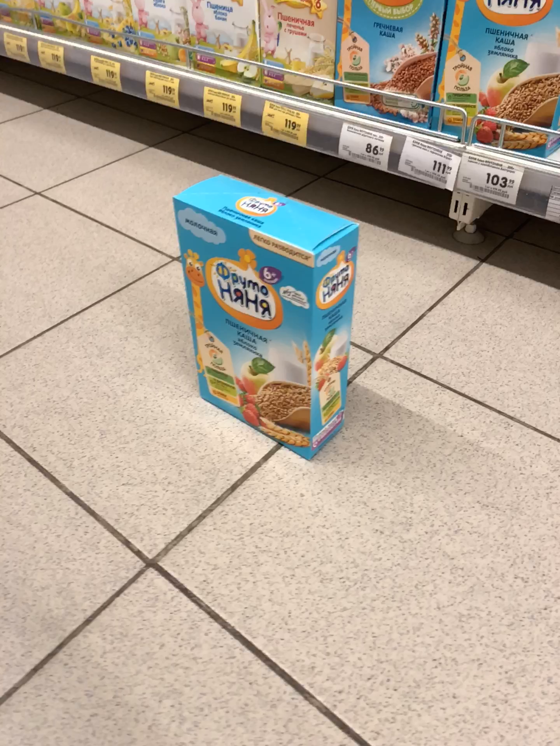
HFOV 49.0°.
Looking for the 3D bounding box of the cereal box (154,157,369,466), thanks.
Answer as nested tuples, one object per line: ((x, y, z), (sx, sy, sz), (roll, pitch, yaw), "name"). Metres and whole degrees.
((-0.013, -0.044, 0.479), (0.140, 0.199, 0.060), (28, 49, 29), "cereal box")
